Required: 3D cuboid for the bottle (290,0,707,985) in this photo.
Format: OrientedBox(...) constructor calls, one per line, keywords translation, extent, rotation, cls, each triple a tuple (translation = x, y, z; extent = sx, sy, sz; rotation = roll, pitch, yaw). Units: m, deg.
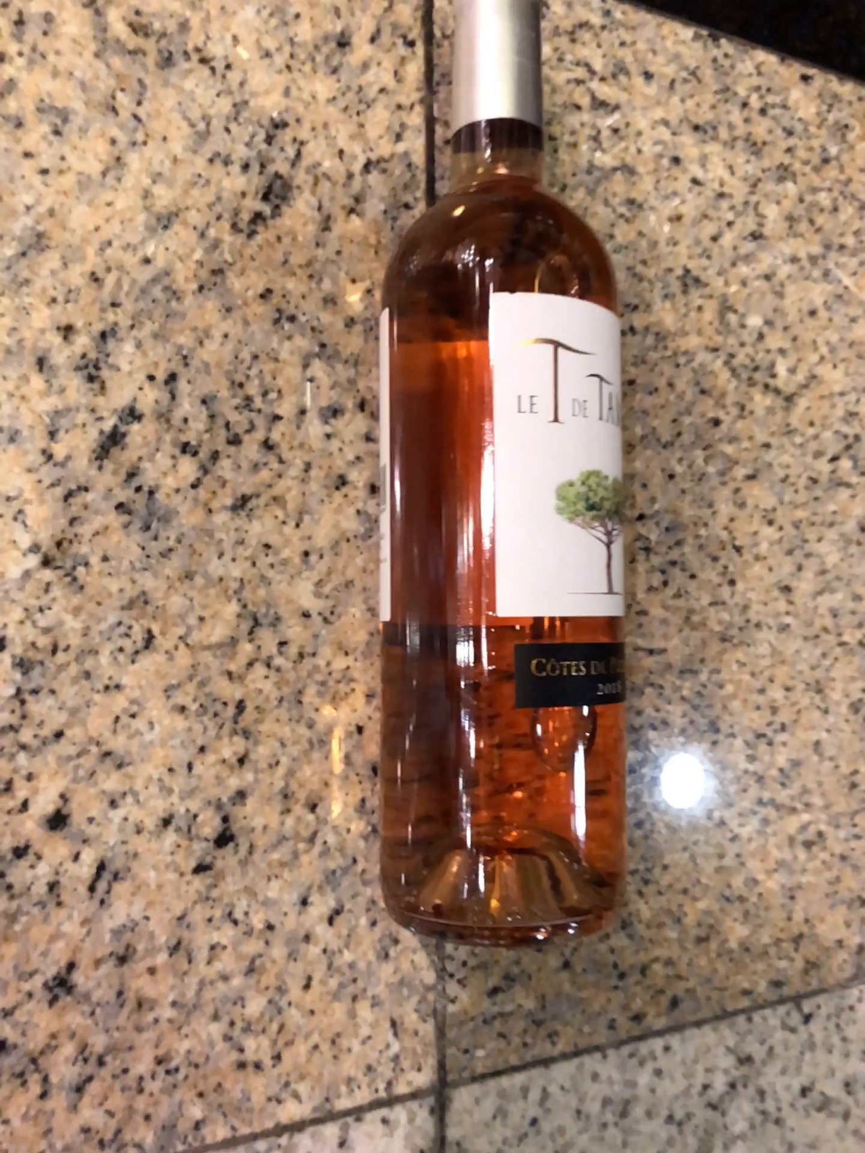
OrientedBox(translation=(0.014, -0.065, 0.279), extent=(0.090, 0.080, 0.320), rotation=(1, 87, -26), cls="bottle")
